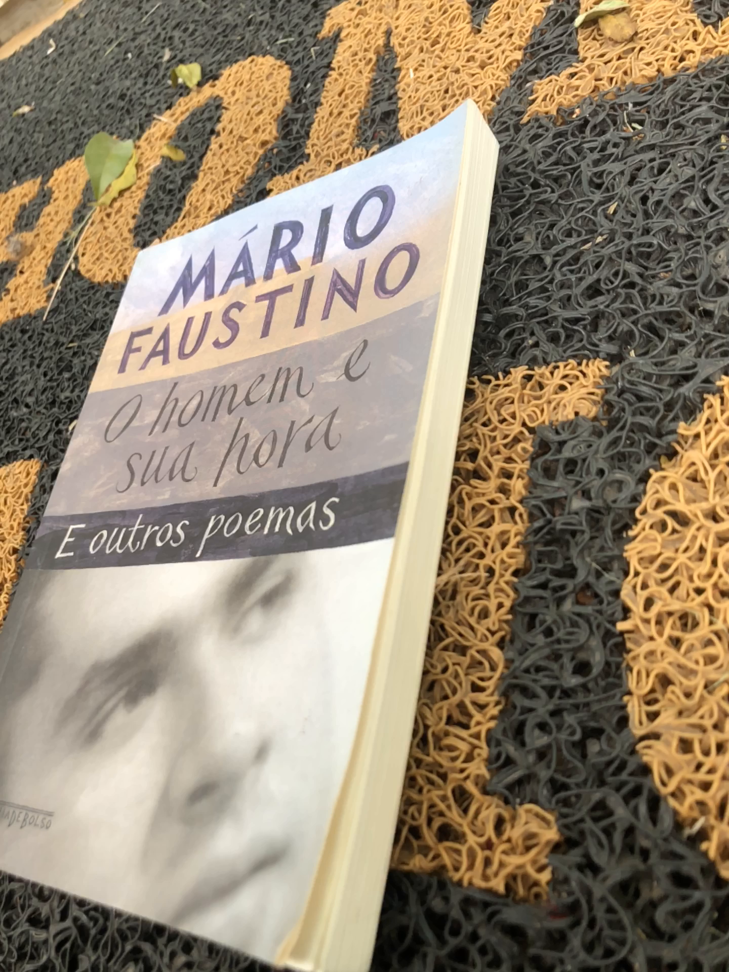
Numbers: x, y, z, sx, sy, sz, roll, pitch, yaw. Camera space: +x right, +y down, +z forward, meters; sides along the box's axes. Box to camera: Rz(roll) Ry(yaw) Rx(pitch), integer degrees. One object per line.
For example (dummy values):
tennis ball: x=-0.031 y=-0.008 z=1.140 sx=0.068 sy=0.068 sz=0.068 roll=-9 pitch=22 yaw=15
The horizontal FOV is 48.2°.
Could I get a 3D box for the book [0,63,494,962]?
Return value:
book: x=-0.041 y=-0.005 z=0.189 sx=0.125 sy=0.020 sz=0.174 roll=-7 pitch=60 yaw=37
